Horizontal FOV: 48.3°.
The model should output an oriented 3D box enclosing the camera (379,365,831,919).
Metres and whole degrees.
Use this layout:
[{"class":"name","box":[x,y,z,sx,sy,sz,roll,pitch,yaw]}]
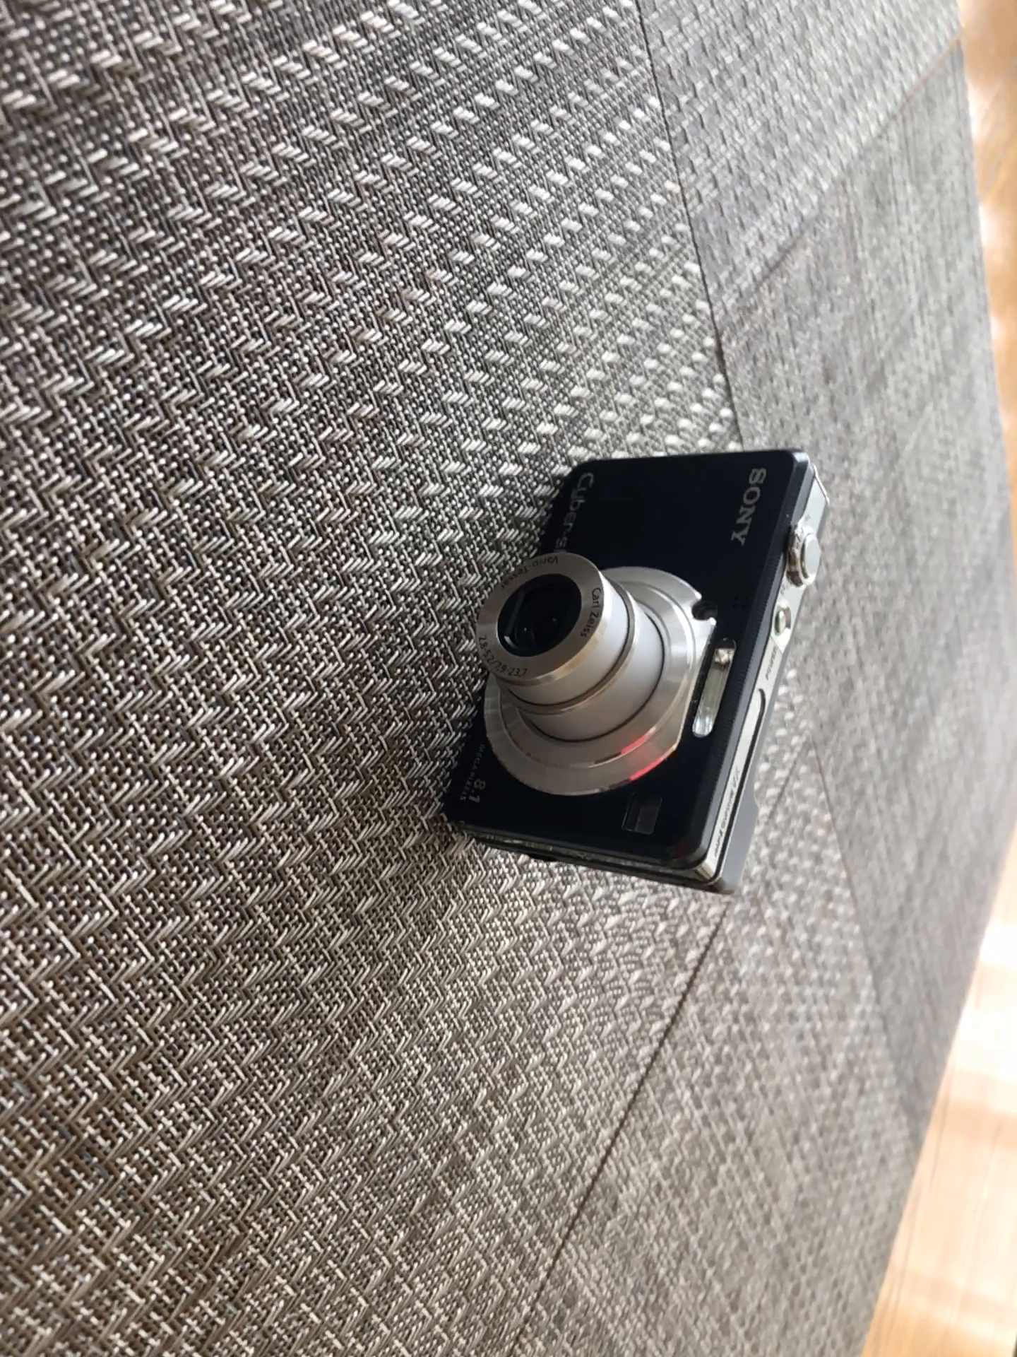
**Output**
[{"class":"camera","box":[0.024,-0.008,0.233,0.049,0.052,0.095,45,57,-48]}]
